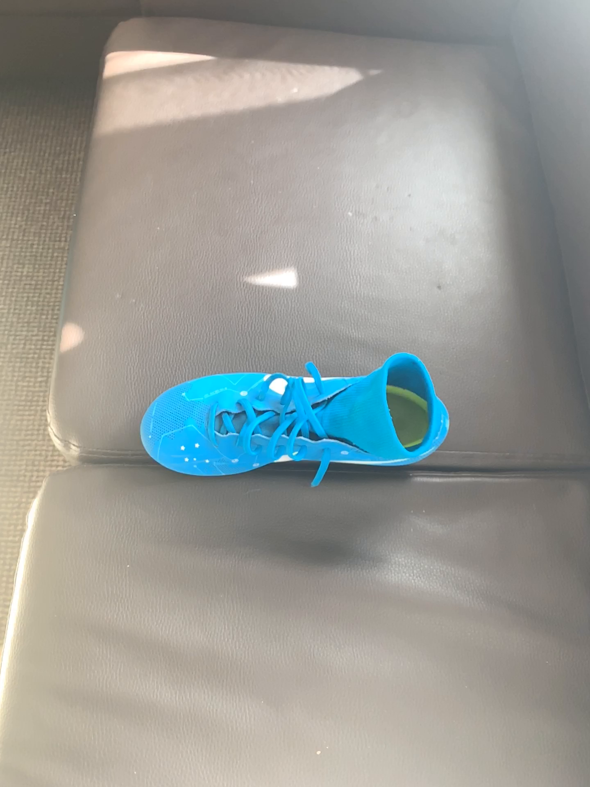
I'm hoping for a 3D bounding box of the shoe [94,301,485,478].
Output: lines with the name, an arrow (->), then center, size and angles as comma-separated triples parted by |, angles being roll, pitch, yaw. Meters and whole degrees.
shoe -> -0.004, 0.002, 0.462 | 0.250, 0.120, 0.099 | 0, 70, -1
